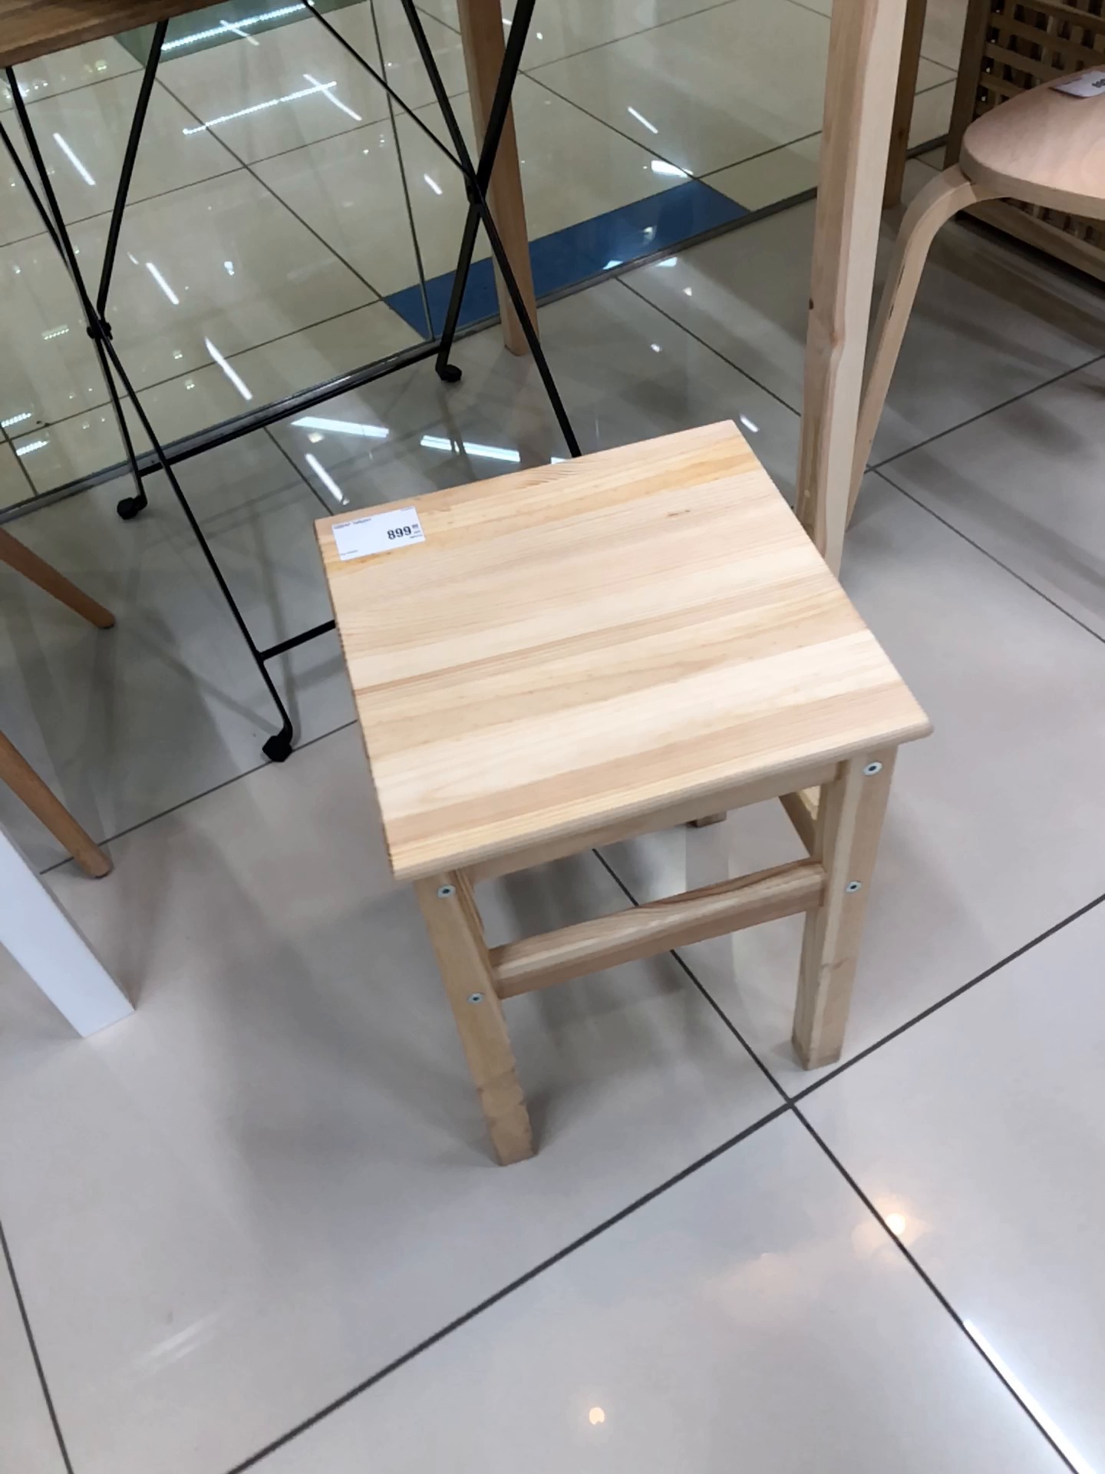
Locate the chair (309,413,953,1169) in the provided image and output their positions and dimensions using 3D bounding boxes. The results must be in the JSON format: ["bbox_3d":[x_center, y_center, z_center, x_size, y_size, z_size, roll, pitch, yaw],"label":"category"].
[{"bbox_3d":[0.046,0.051,0.921,0.327,0.407,0.322,-15,49,-6],"label":"chair"}]
